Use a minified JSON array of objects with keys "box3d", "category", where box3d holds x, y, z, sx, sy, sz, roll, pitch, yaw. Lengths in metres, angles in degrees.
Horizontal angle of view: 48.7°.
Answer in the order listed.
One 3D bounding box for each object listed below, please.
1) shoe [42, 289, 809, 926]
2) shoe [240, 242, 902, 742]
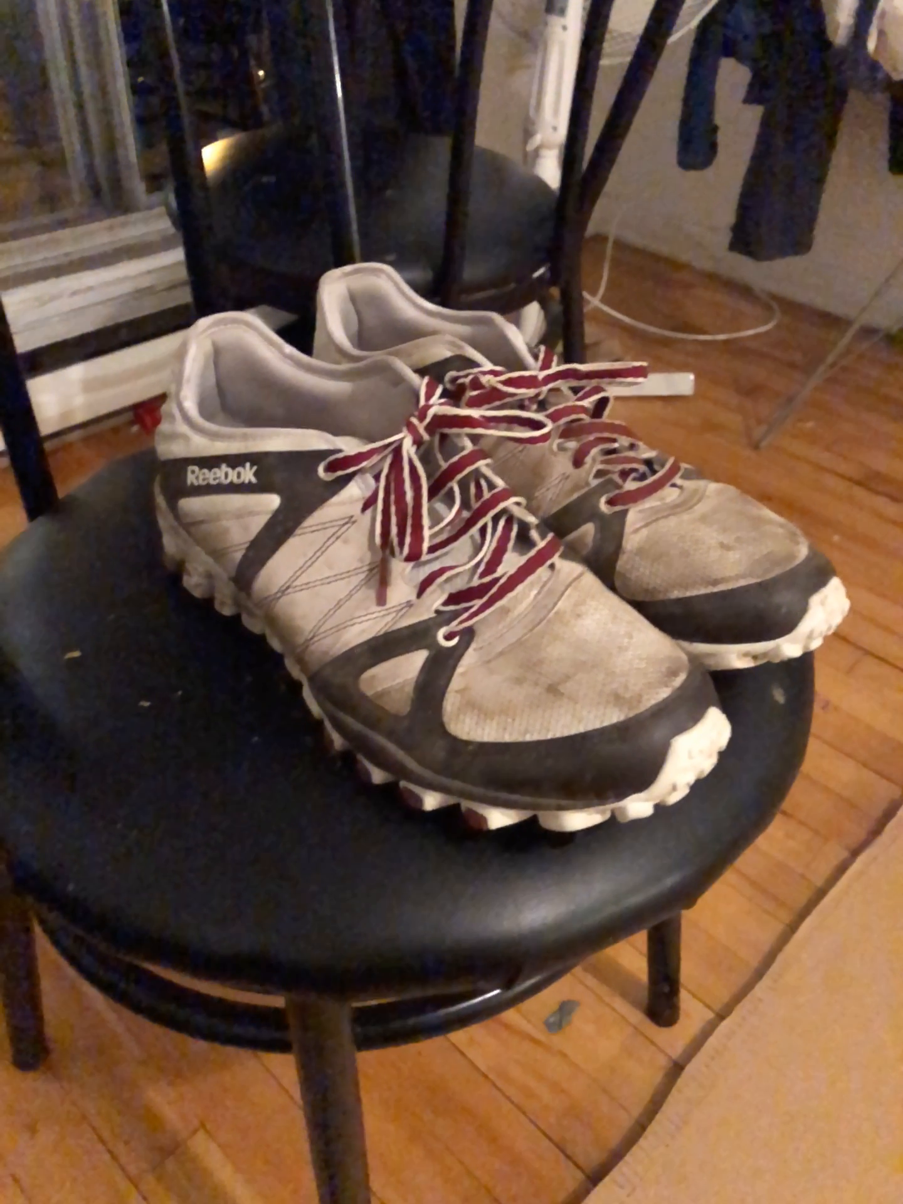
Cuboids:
[{"box3d":[-0.026,-0.022,0.378,0.271,0.089,0.111,32,47,31],"category":"shoe"},{"box3d":[0.038,-0.070,0.455,0.281,0.089,0.111,32,47,31],"category":"shoe"}]
